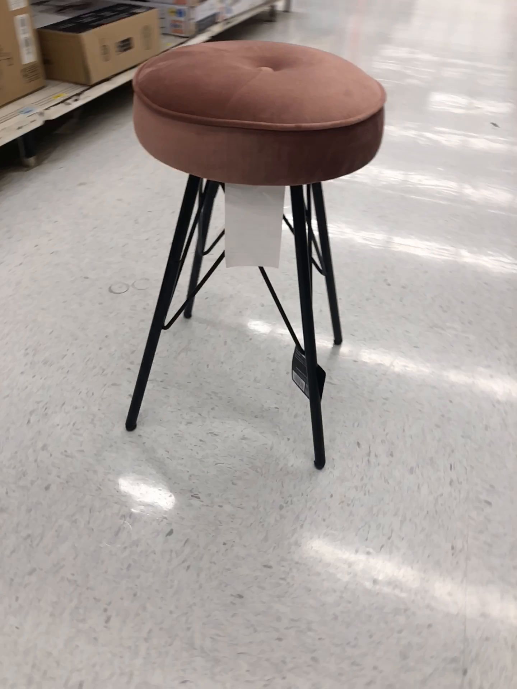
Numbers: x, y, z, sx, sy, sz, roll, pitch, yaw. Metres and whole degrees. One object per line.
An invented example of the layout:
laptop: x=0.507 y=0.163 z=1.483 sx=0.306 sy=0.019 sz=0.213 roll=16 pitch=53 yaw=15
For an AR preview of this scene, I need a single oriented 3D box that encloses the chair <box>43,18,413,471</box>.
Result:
chair: x=-0.014 y=-0.147 z=0.833 sx=0.360 sy=0.498 sz=0.351 roll=11 pitch=40 yaw=8
